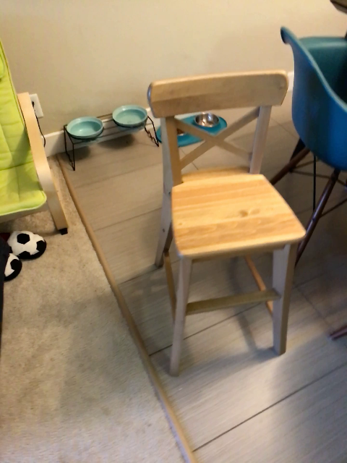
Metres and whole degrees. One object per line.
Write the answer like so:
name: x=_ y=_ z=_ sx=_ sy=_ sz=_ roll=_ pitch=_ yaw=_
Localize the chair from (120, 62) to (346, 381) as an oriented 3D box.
chair: x=0.121 y=-0.006 z=1.032 sx=0.440 sy=0.685 sz=0.493 roll=-7 pitch=48 yaw=-9
